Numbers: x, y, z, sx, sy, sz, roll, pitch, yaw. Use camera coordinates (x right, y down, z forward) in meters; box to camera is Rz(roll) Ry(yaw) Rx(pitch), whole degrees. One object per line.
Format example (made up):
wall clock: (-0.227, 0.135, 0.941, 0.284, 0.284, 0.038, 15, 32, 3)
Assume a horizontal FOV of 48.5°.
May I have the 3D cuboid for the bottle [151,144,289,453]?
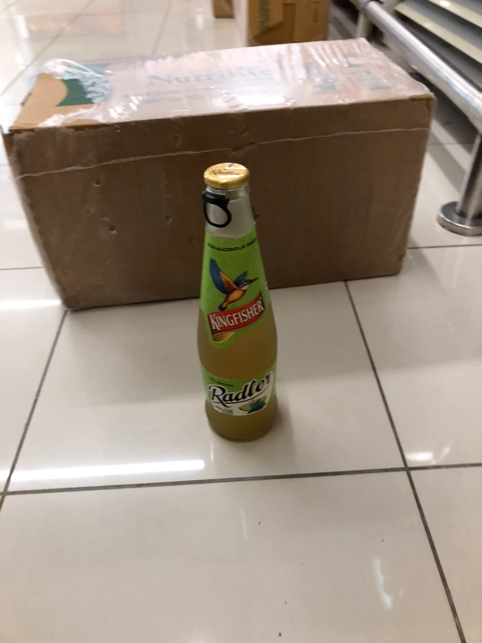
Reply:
bottle: (-0.008, -0.003, 0.360, 0.070, 0.209, 0.060, -4, 40, -2)
